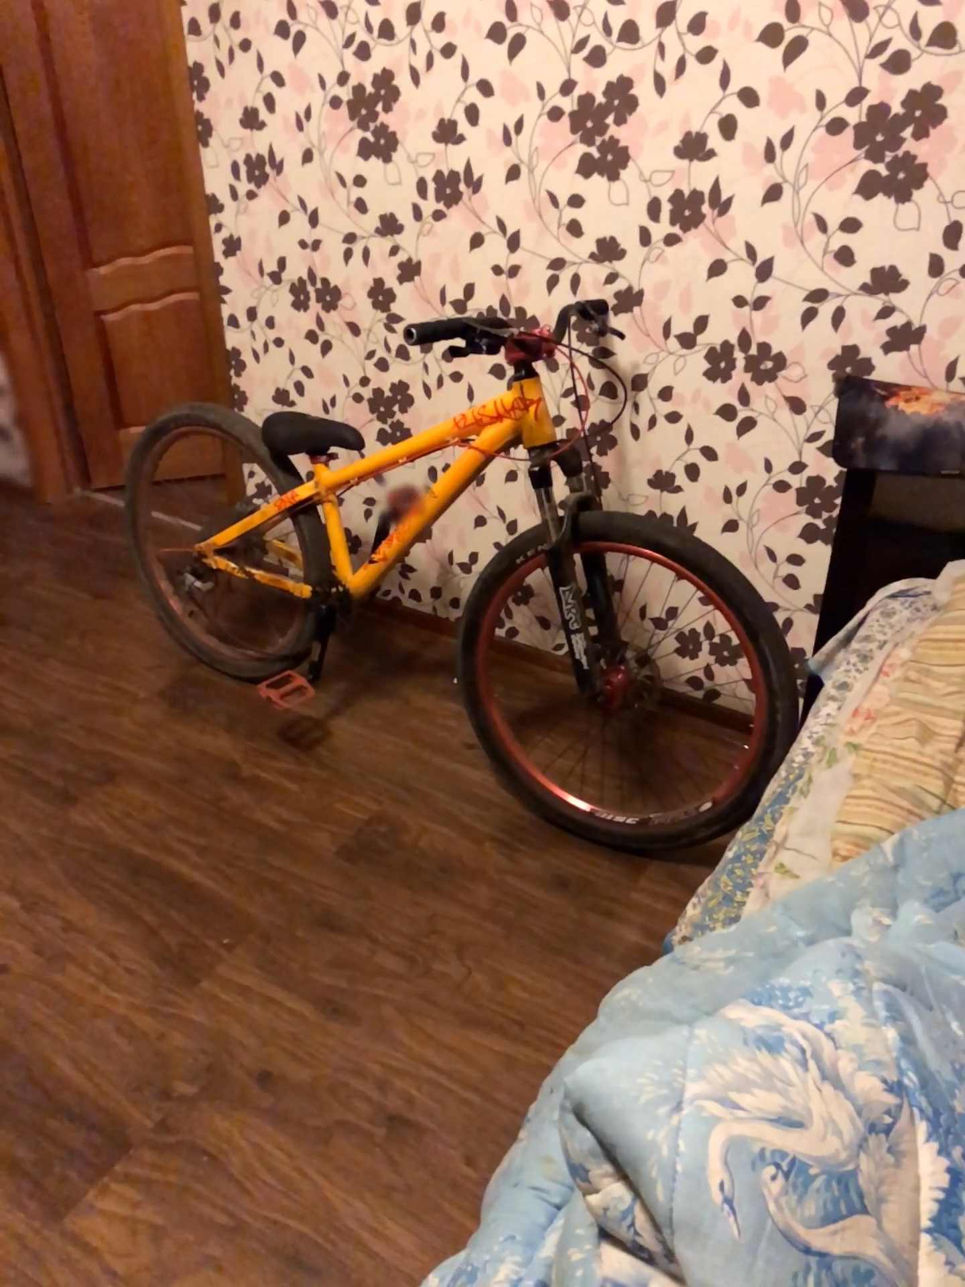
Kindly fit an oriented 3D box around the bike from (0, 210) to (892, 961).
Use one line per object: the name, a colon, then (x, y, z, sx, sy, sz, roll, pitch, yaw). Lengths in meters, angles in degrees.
bike: (-0.205, -0.269, 2.130, 1.678, 1.005, 0.663, 17, 35, 31)
